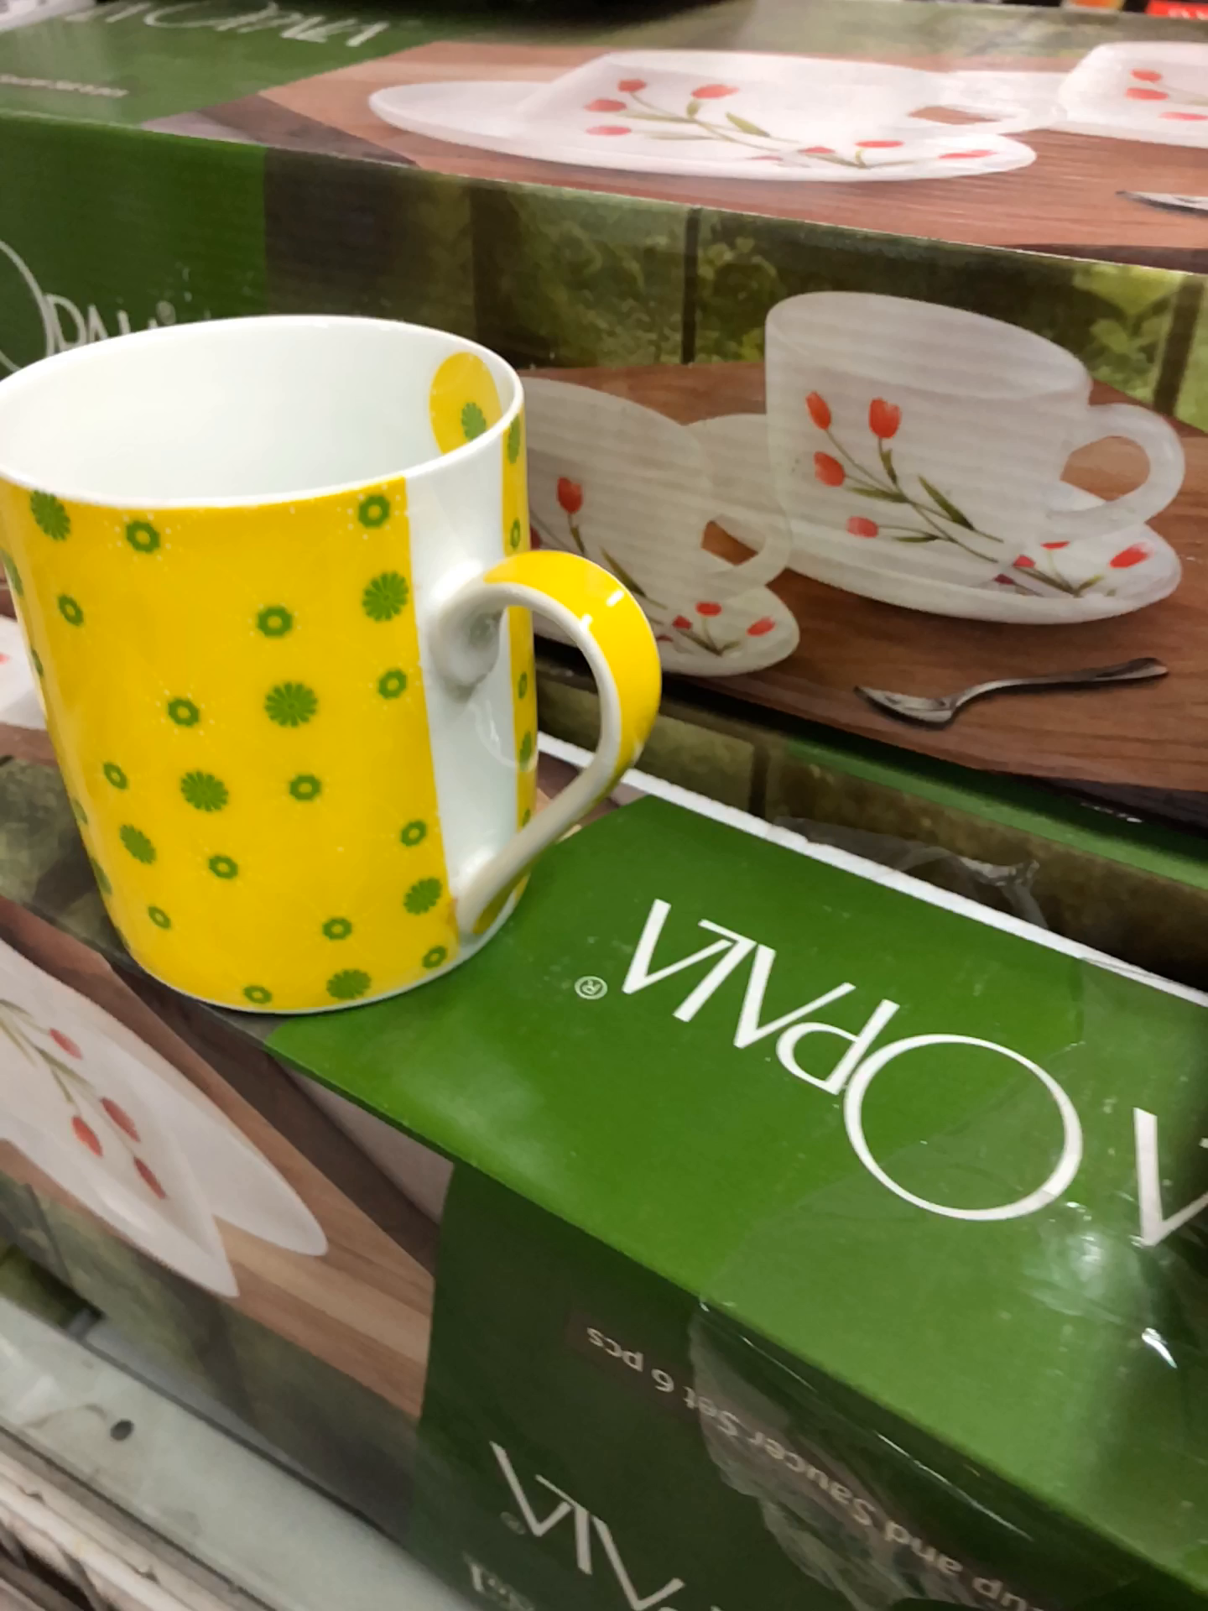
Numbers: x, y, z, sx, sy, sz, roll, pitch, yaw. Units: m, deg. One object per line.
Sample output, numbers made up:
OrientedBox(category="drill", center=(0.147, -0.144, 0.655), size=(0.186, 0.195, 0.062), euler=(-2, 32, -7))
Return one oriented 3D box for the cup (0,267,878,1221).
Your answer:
OrientedBox(category="cup", center=(-0.031, -0.019, 0.206), size=(0.110, 0.089, 0.081), euler=(21, 39, 27))
